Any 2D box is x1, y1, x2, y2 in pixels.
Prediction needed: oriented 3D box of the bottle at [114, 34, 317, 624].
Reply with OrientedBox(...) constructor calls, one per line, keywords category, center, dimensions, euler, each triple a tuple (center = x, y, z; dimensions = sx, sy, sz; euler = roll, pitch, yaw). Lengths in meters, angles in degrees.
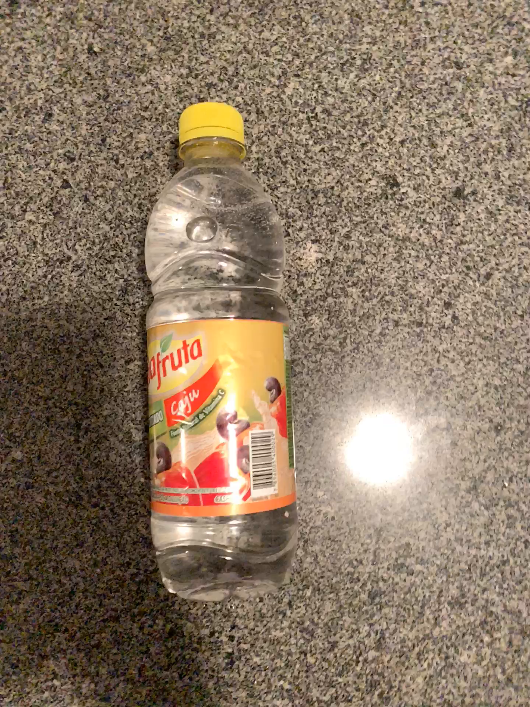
OrientedBox(category="bottle", center=(-0.022, -0.013, 0.244), dimensions=(0.070, 0.060, 0.230), euler=(-3, 84, -1))
